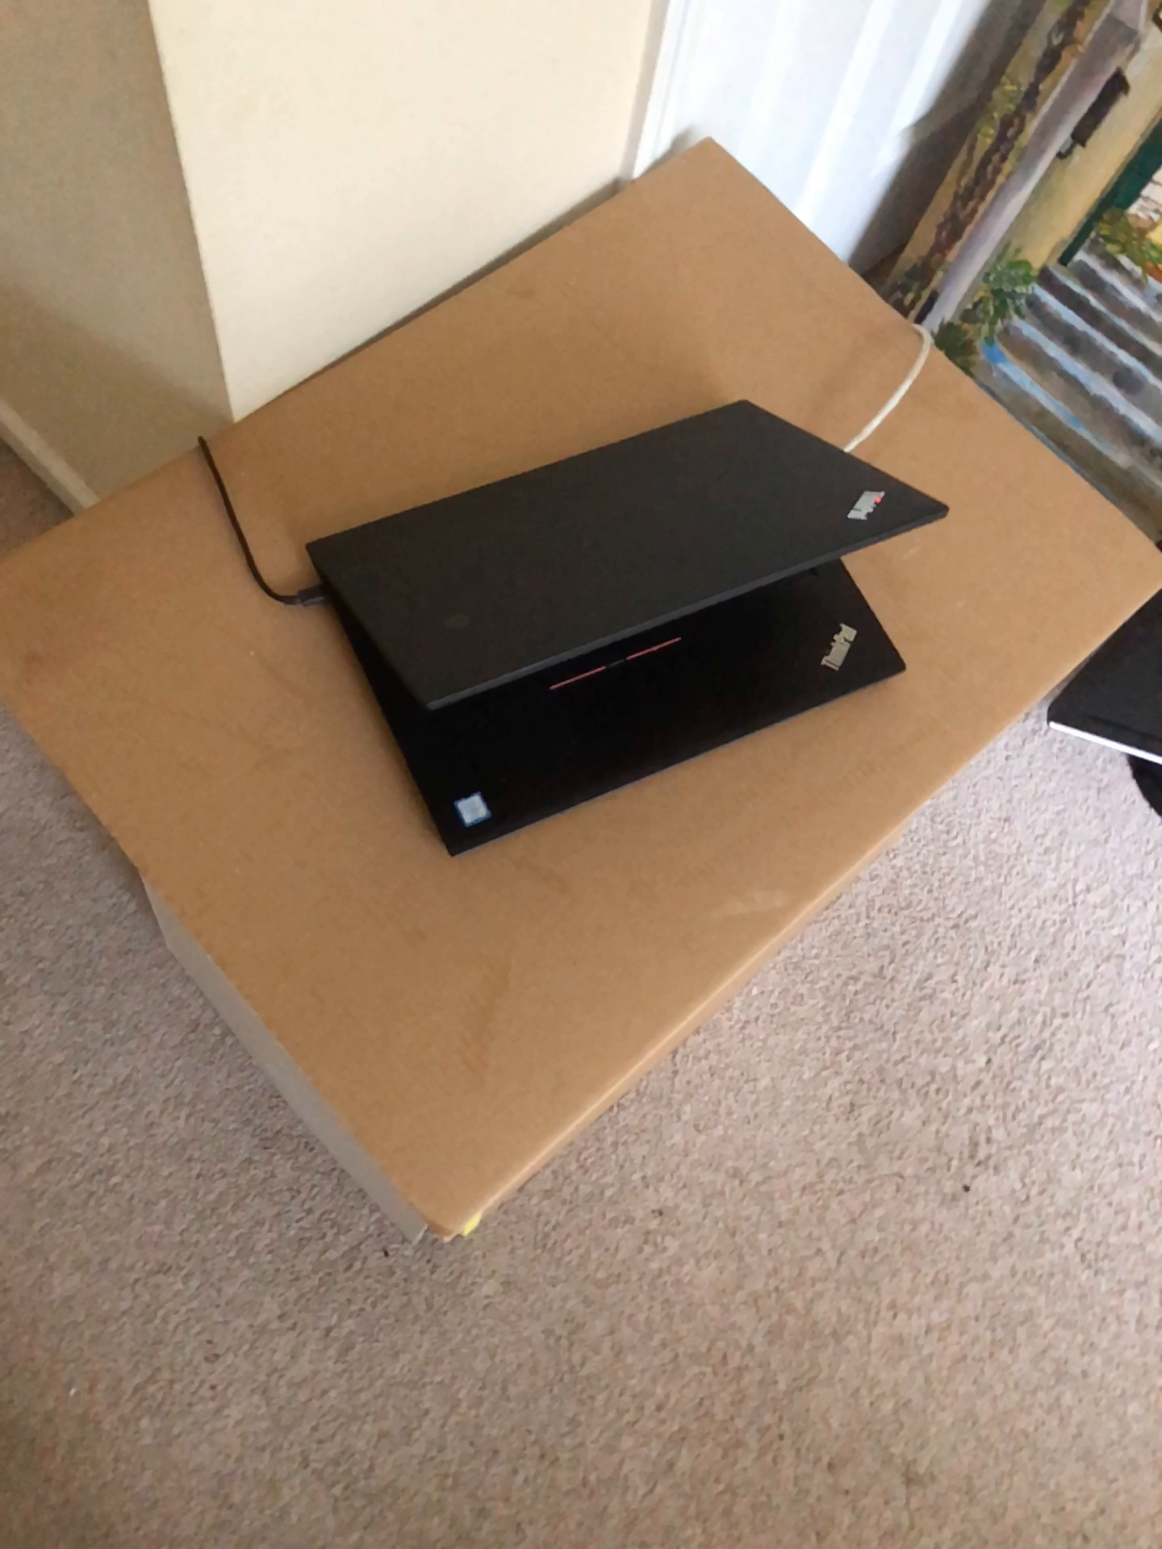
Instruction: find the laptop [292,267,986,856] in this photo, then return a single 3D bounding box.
[{"bbox_3d":[0.027,-0.136,0.786,0.334,0.140,0.232,-22,71,-16],"label":"laptop"}]
